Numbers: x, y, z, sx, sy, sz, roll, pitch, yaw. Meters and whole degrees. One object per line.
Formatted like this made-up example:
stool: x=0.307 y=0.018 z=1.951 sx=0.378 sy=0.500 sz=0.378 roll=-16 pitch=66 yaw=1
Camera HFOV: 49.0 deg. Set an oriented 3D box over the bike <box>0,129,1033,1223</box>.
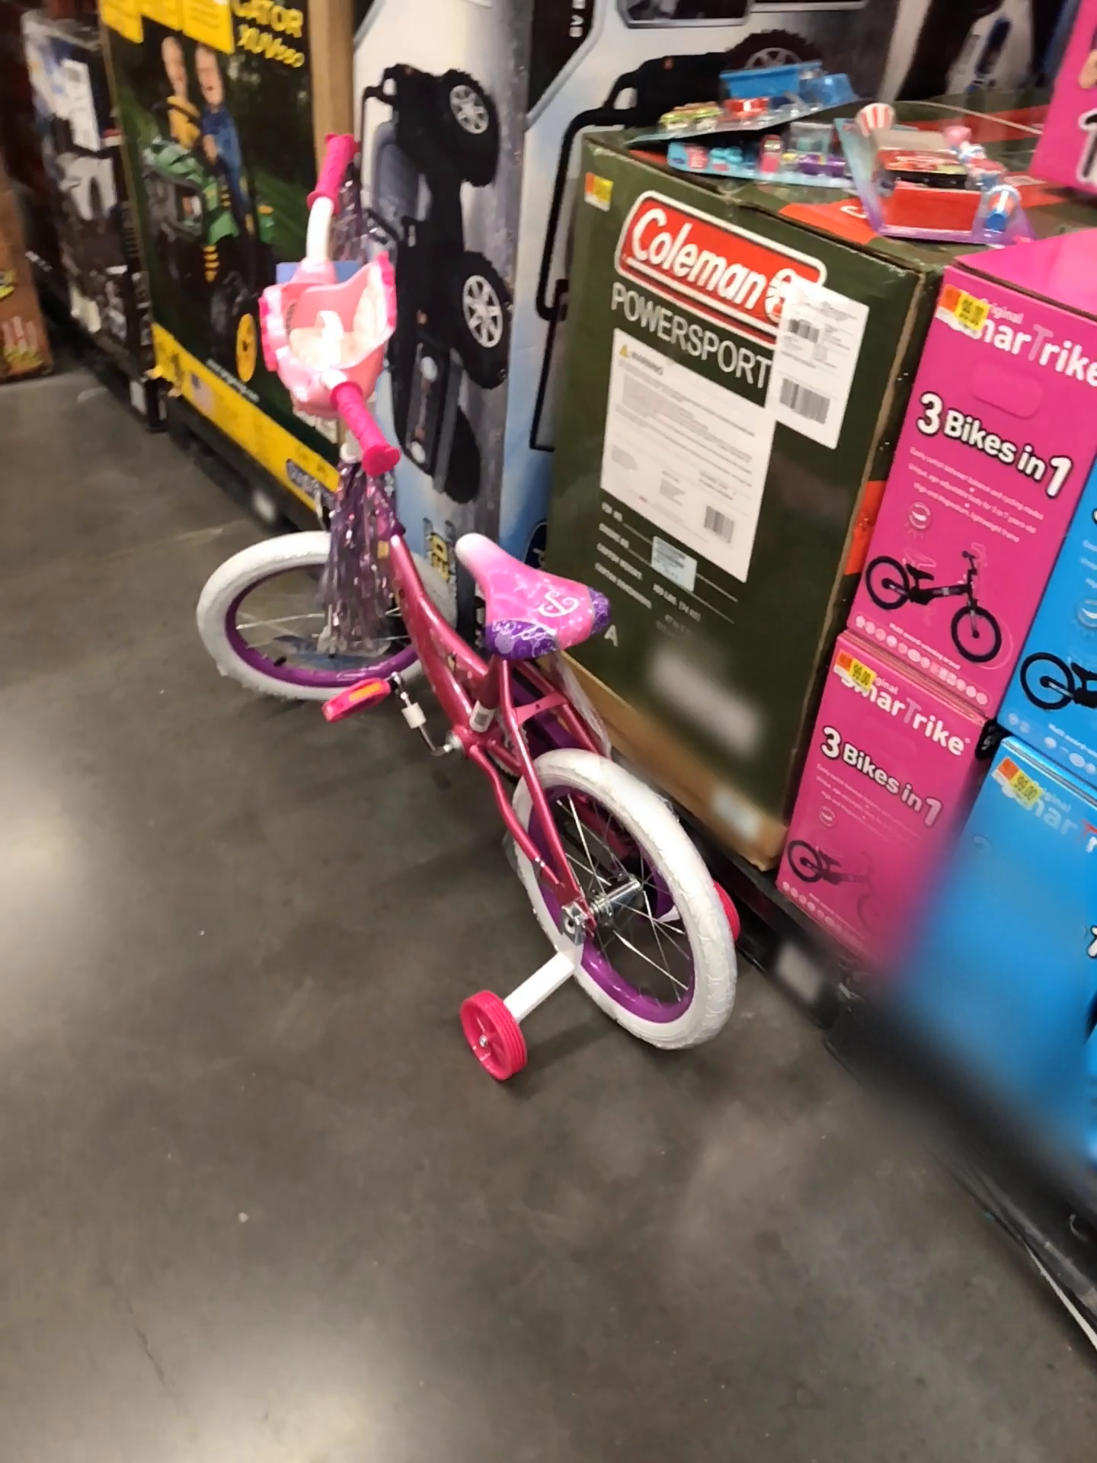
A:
bike: x=-0.113 y=-0.121 z=1.419 sx=0.951 sy=0.854 sz=0.478 roll=32 pitch=45 yaw=30
